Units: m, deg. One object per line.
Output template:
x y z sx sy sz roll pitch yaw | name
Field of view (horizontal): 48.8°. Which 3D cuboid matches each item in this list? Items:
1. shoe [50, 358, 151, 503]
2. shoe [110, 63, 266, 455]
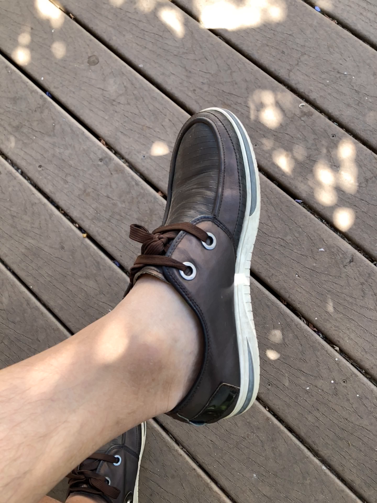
-0.123 0.293 0.610 0.103 0.099 0.245 2 85 8 | shoe
-0.001 0.005 0.331 0.090 0.083 0.255 -4 83 52 | shoe
